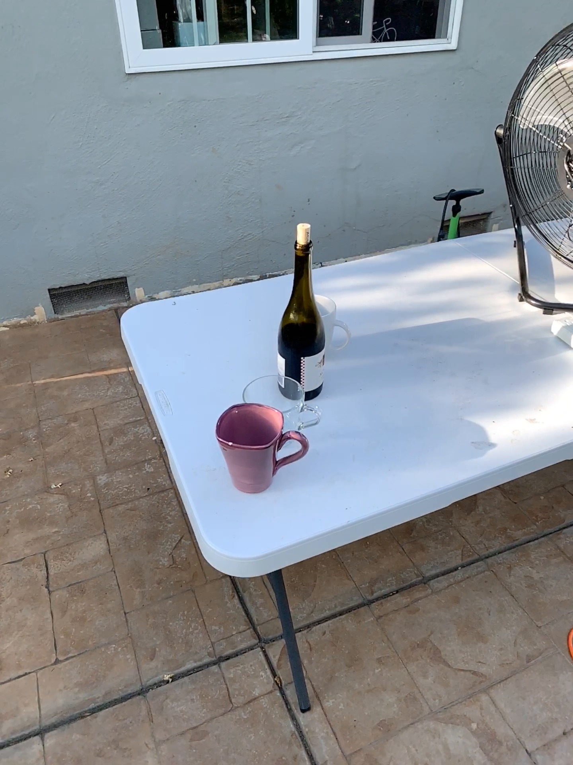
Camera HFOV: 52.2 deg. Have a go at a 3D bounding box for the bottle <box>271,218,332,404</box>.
[{"bbox_3d":[0.024,-0.112,0.981,0.090,0.308,0.081,0,36,1],"label":"bottle"}]
